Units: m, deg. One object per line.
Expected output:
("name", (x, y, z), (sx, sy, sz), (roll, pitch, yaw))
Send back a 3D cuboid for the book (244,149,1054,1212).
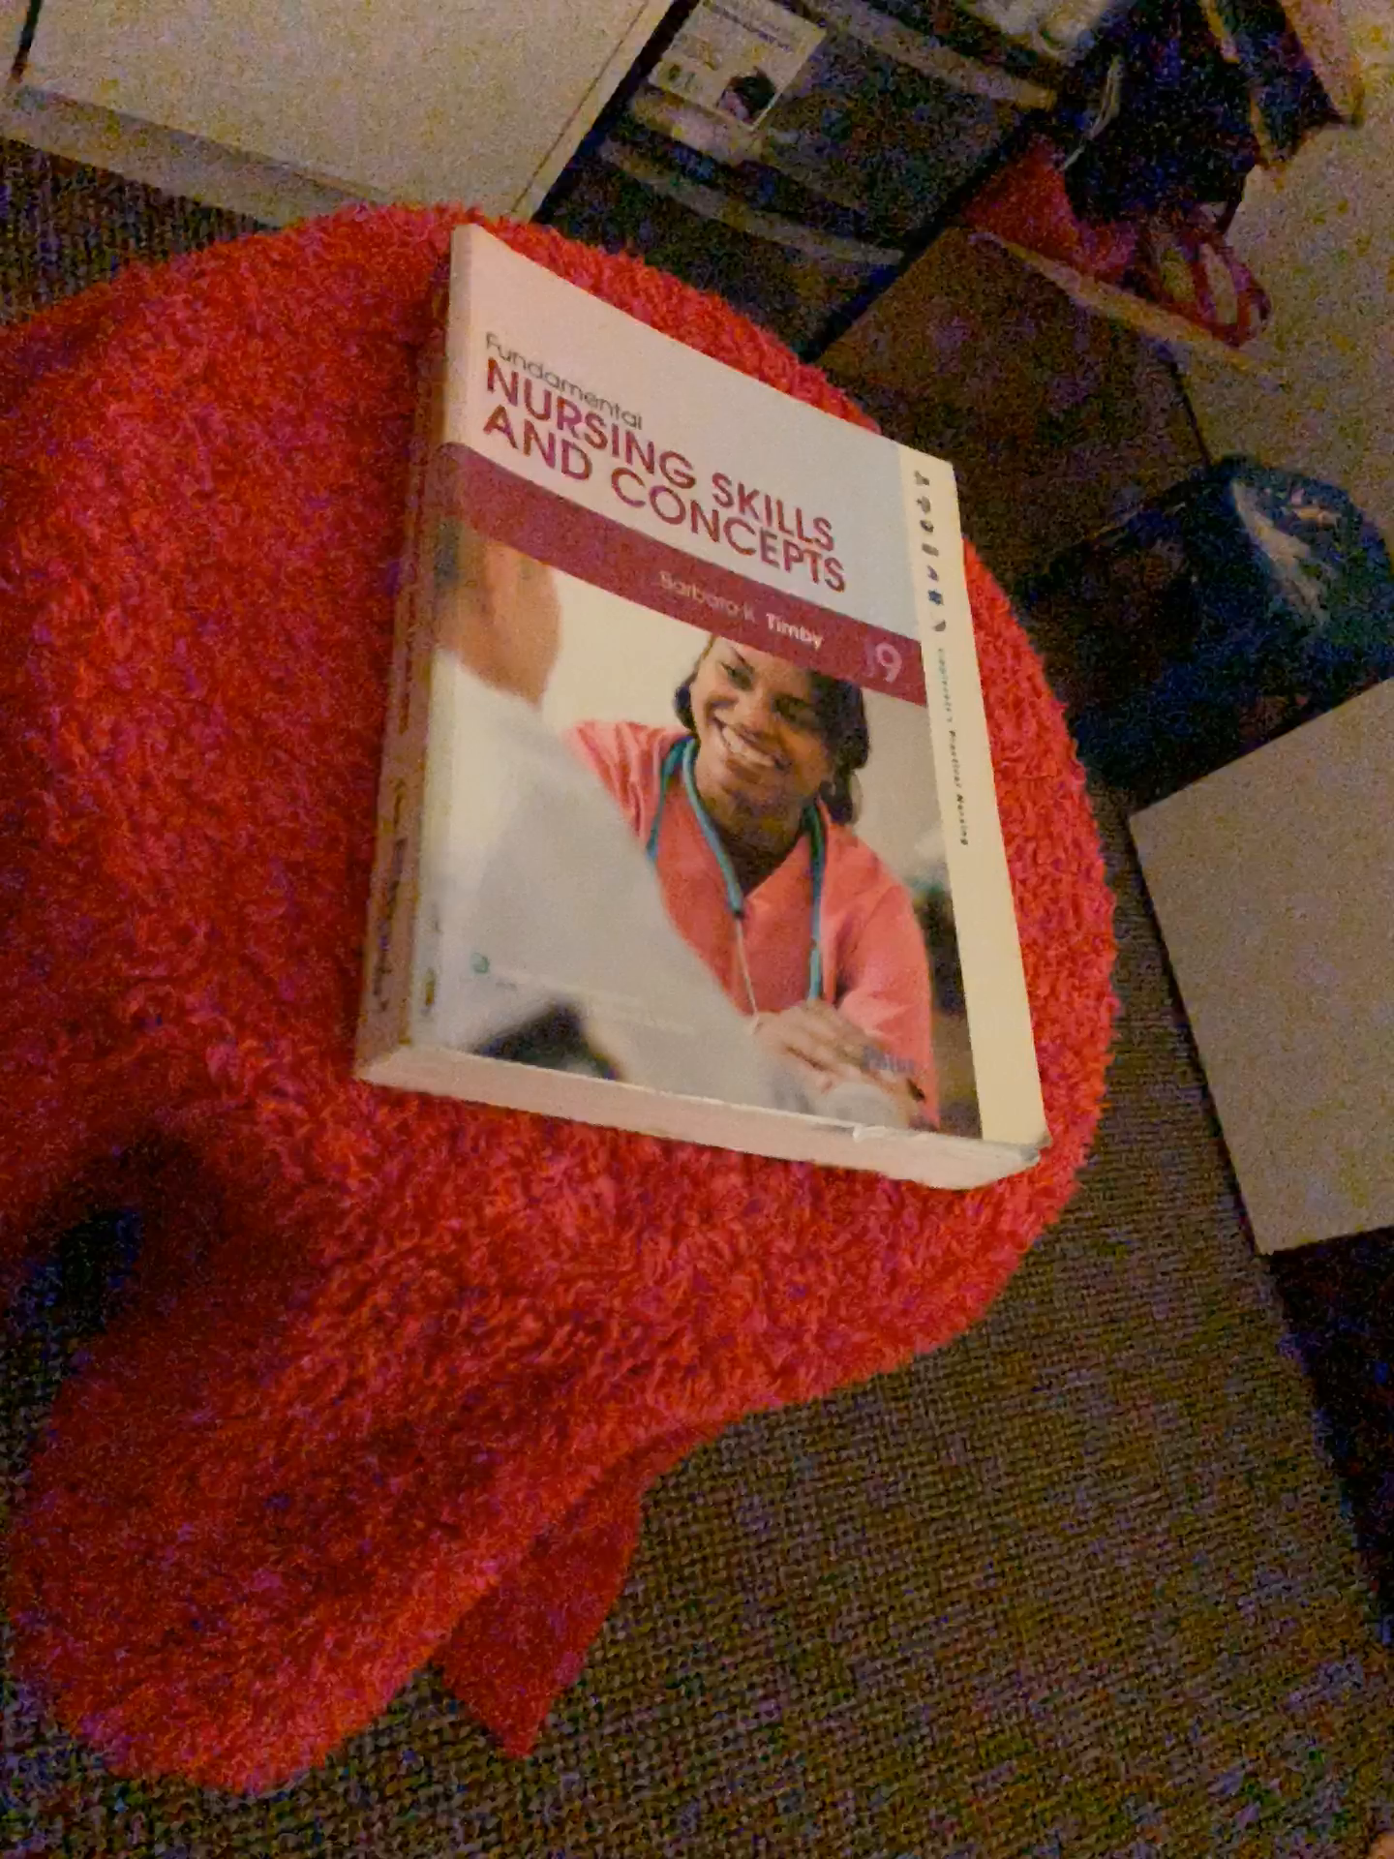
("book", (-0.008, -0.075, 0.473), (0.231, 0.069, 0.301), (15, 60, -31))
